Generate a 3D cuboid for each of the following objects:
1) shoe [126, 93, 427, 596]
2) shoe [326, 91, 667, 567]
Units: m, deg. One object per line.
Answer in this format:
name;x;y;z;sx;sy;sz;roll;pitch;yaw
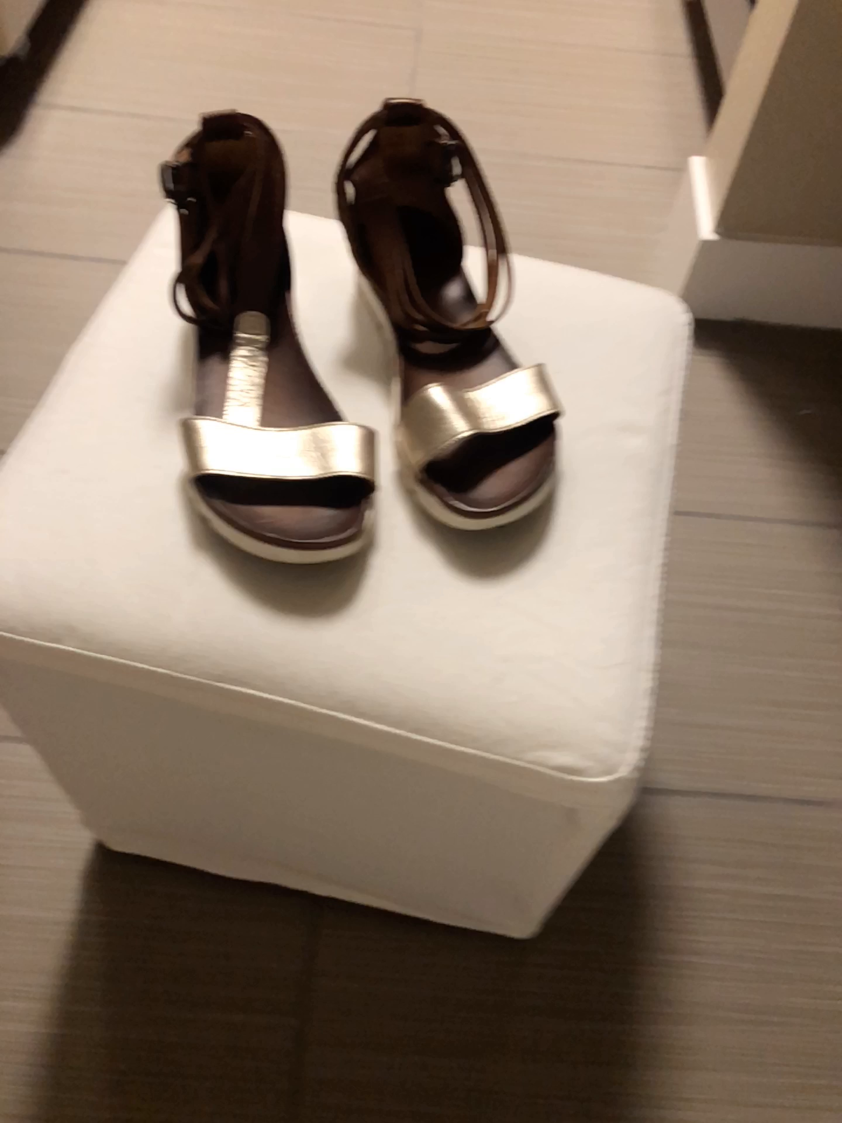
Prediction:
shoe;-0.081;-0.123;0.484;0.110;0.090;0.261;-8;58;-10
shoe;0.024;-0.137;0.508;0.110;0.090;0.261;-8;58;-10
